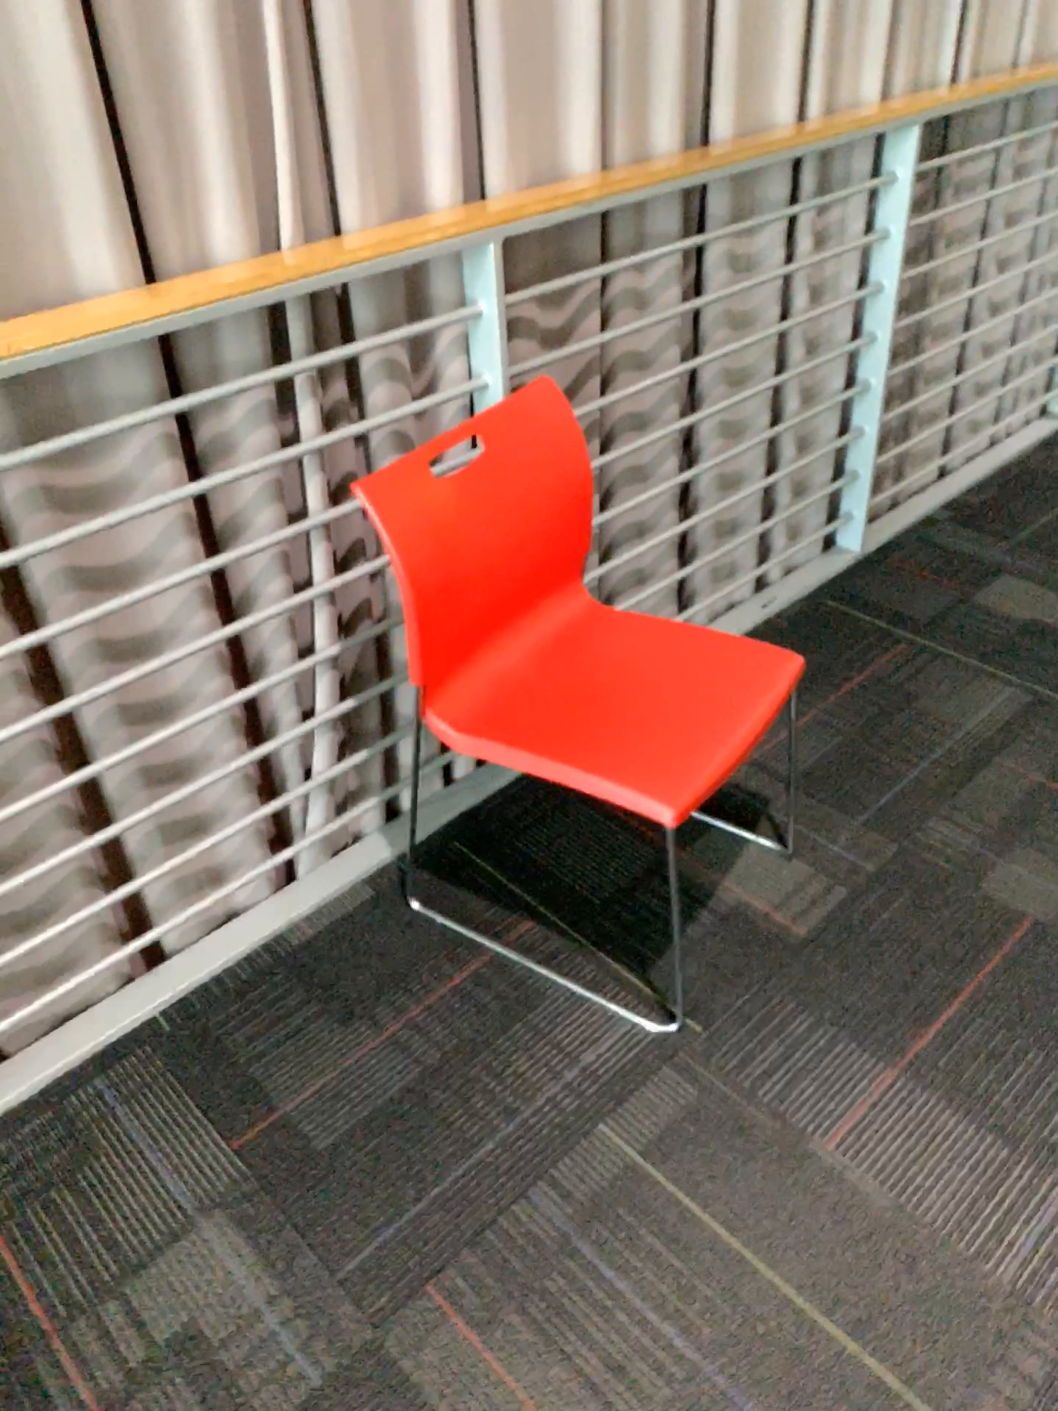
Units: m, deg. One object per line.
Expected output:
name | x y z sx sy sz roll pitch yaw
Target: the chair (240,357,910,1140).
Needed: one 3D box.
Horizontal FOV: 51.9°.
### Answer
chair | 0.080 0.033 1.715 0.662 0.855 0.632 23 43 27
